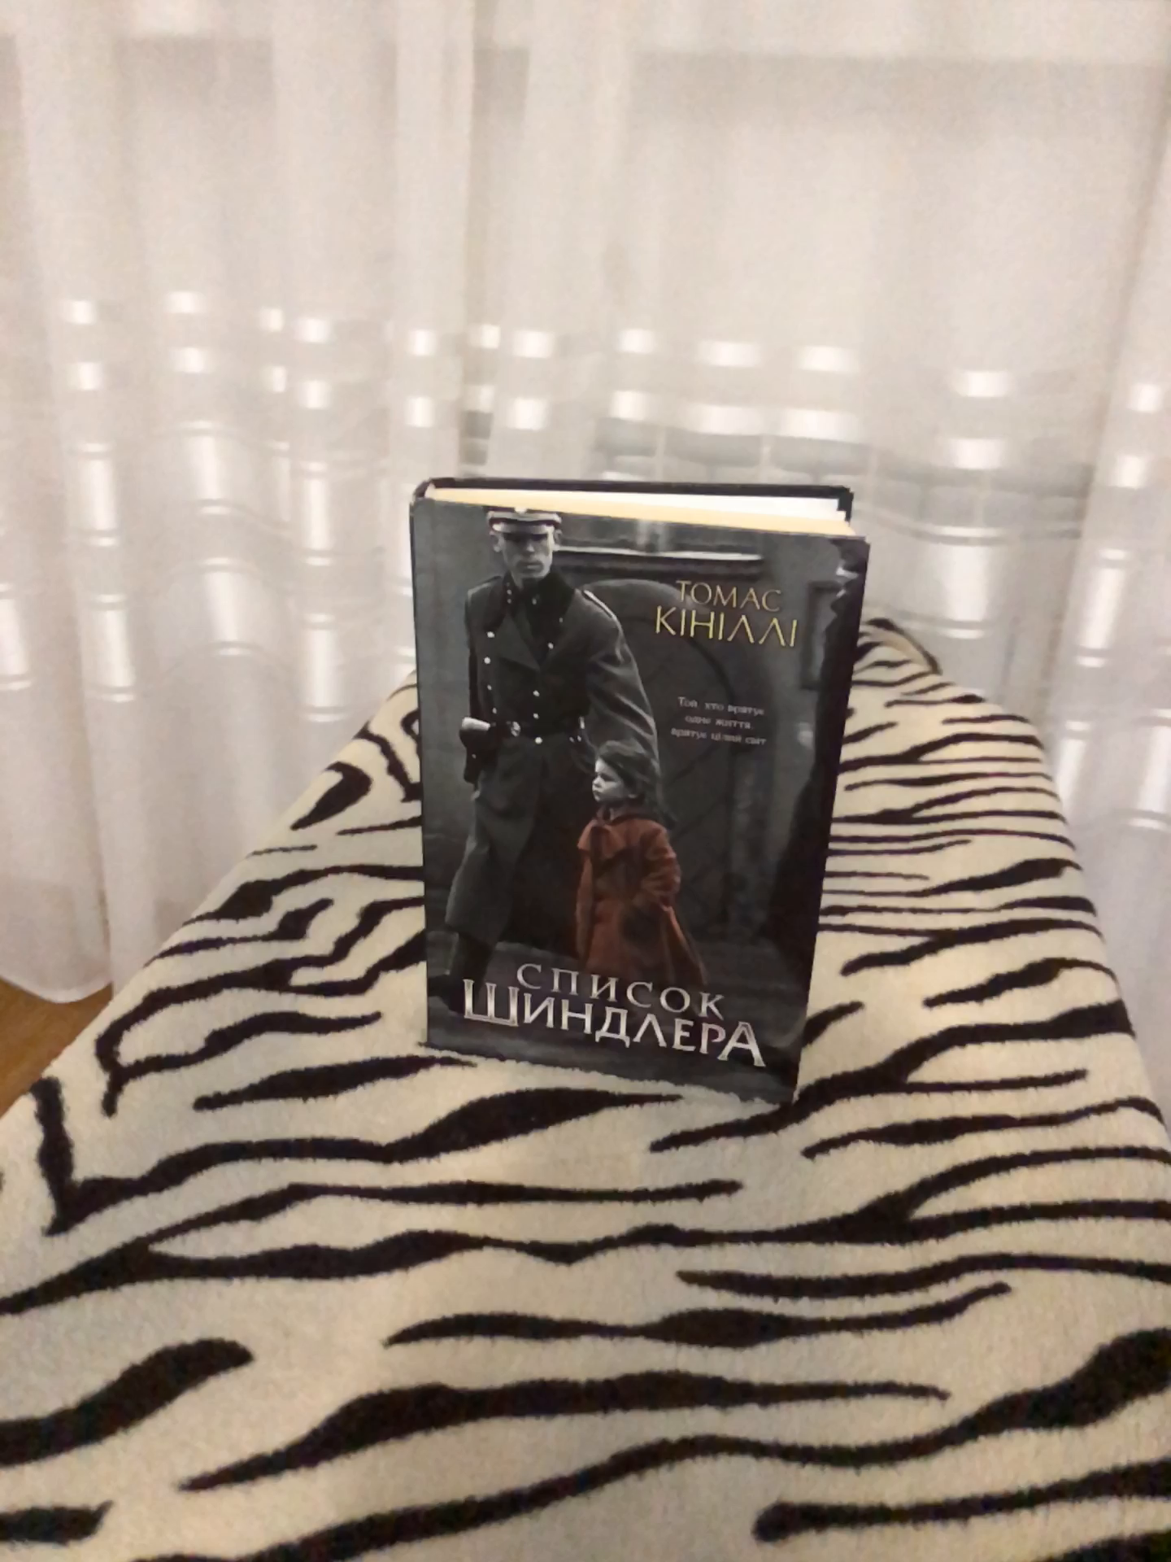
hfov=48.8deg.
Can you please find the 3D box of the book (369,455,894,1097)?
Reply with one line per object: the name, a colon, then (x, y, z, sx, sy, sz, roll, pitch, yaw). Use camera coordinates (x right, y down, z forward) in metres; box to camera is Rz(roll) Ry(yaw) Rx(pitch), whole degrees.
book: (0.012, 0.001, 0.420, 0.144, 0.191, 0.057, 5, 27, 6)
